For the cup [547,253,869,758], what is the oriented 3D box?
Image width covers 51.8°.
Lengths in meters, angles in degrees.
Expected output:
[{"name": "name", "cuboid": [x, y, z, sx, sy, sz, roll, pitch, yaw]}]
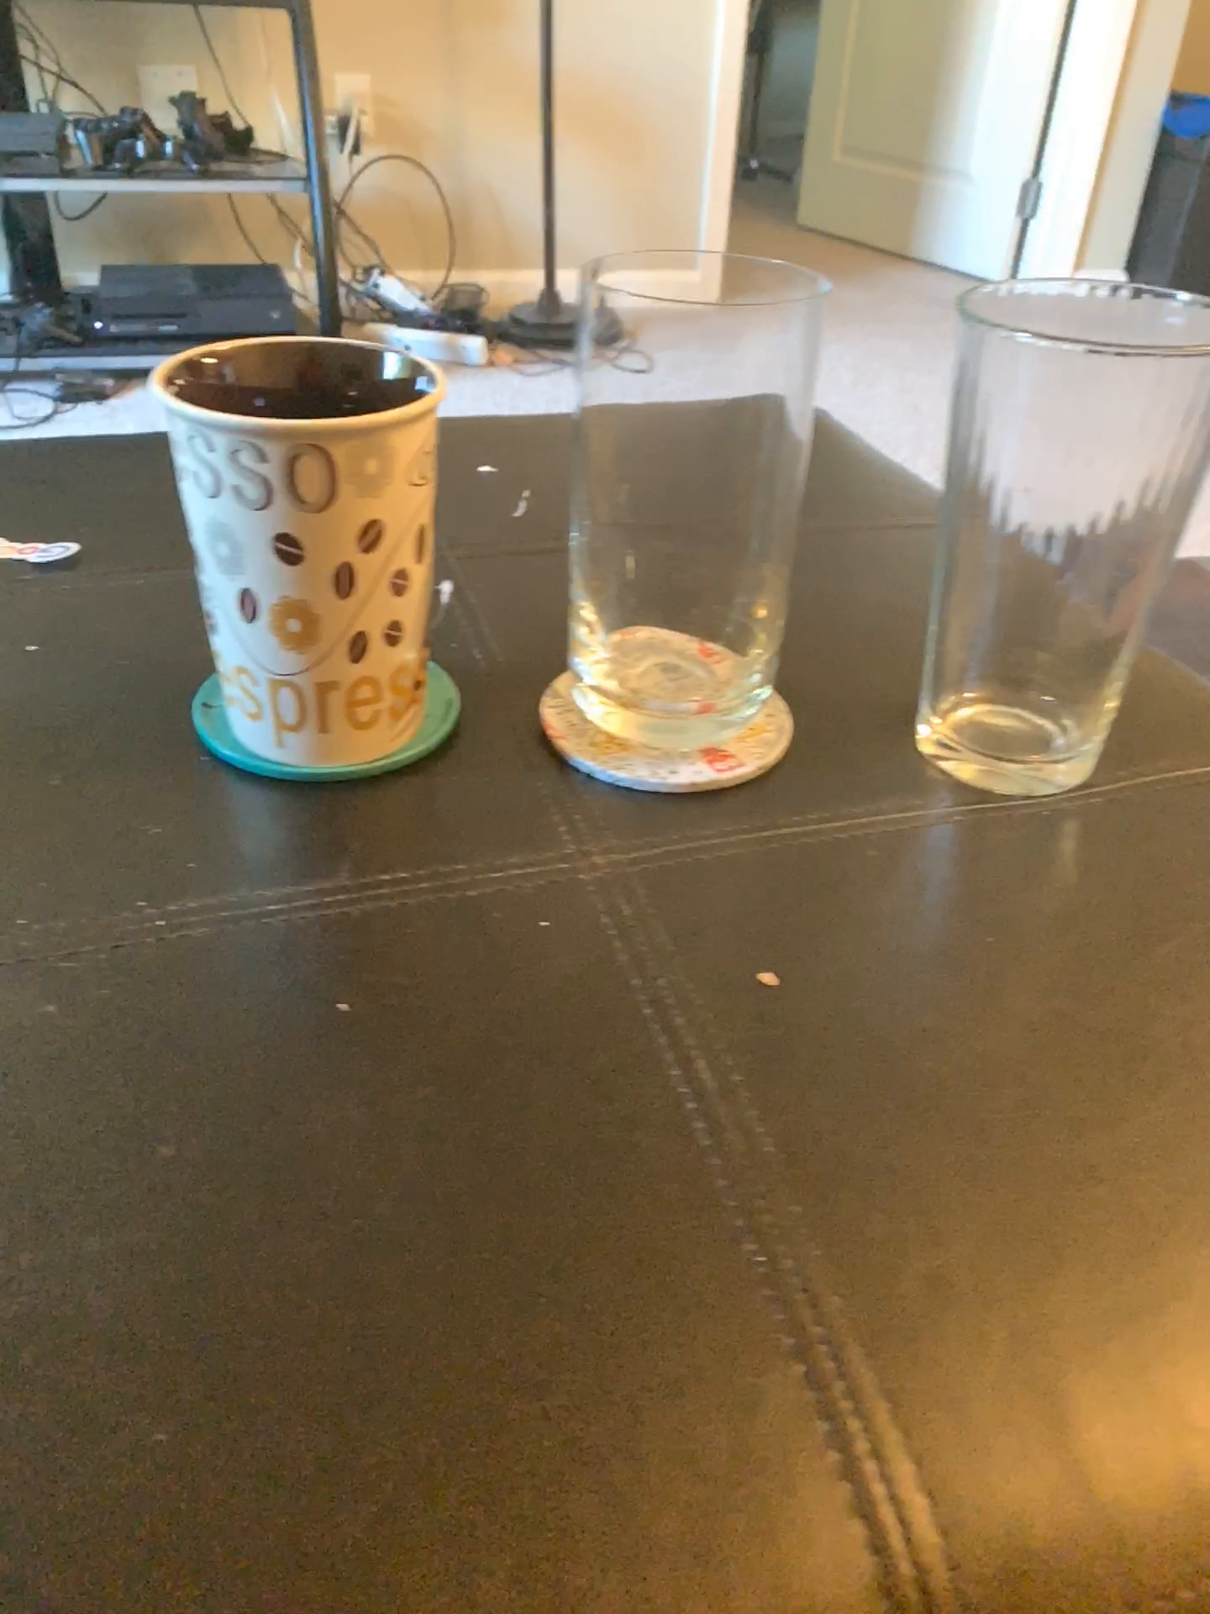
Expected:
[{"name": "cup", "cuboid": [0.024, -0.093, 0.388, 0.080, 0.129, 0.080, 2, 34, -2]}]

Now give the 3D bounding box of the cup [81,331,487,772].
[{"name": "cup", "cuboid": [-0.089, -0.081, 0.386, 0.090, 0.099, 0.091, 2, 34, -2]}]

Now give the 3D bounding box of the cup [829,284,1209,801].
[{"name": "cup", "cuboid": [0.131, -0.083, 0.398, 0.080, 0.139, 0.081, 2, 34, -2]}]
